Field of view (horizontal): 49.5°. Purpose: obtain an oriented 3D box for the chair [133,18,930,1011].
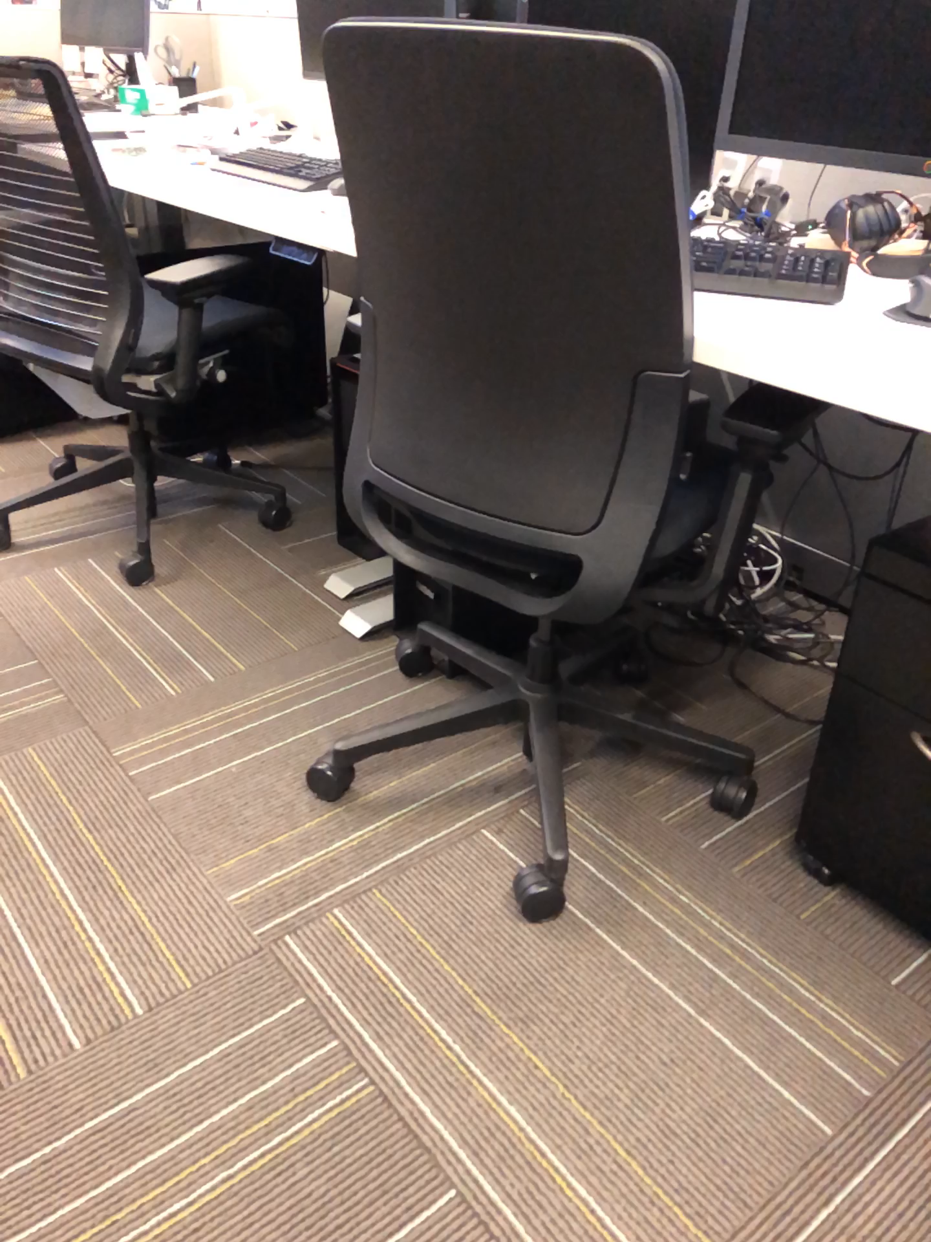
[{"bbox_3d":[0.118,-0.228,1.427,0.712,1.044,0.723,25,37,35],"label":"chair"}]
